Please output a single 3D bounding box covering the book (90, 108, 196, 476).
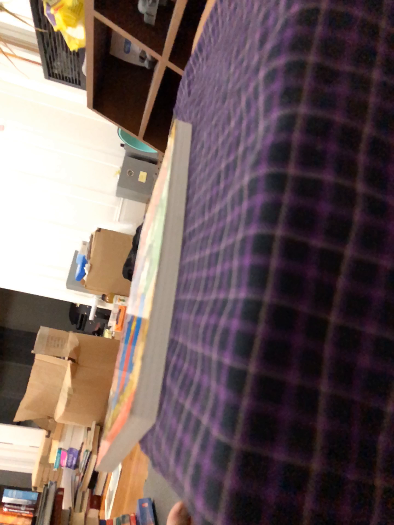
[{"bbox_3d":[-0.045,0.021,0.369,0.170,0.020,0.271,119,161,-52],"label":"book"}]
